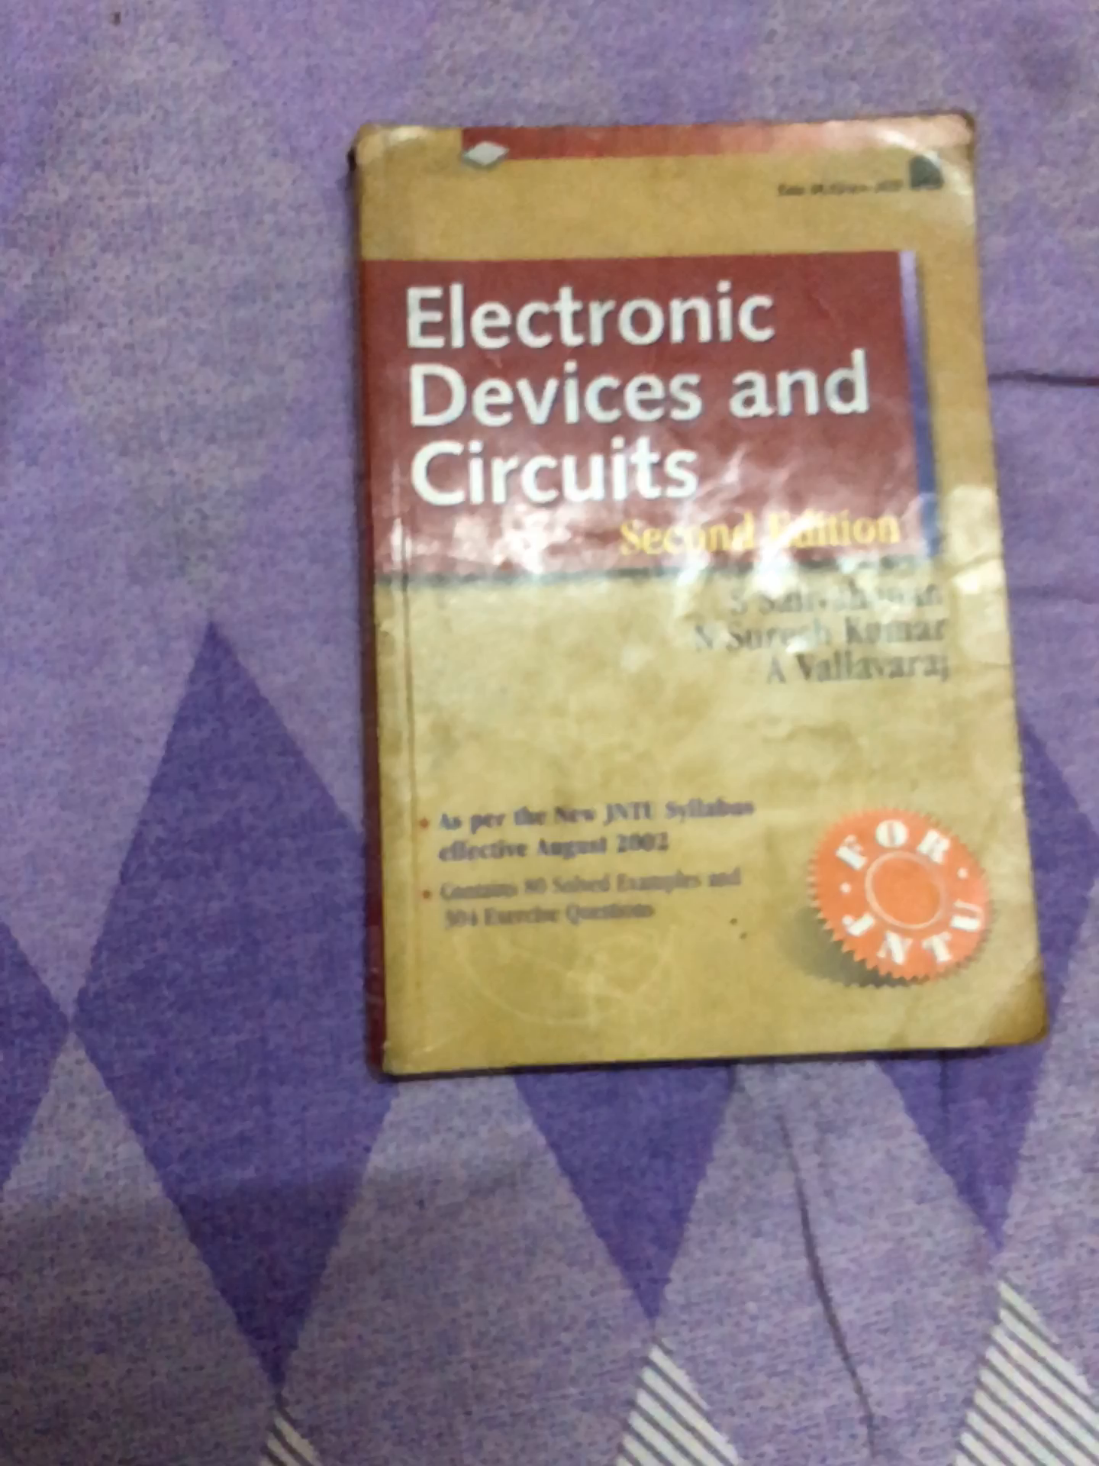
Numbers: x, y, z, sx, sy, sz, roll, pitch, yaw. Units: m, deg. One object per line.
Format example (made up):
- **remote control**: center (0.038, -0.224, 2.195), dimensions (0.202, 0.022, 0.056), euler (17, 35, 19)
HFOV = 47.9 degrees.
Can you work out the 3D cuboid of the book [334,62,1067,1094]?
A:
- **book**: center (0.033, -0.040, 0.311), dimensions (0.160, 0.040, 0.240), euler (-3, 86, -2)
